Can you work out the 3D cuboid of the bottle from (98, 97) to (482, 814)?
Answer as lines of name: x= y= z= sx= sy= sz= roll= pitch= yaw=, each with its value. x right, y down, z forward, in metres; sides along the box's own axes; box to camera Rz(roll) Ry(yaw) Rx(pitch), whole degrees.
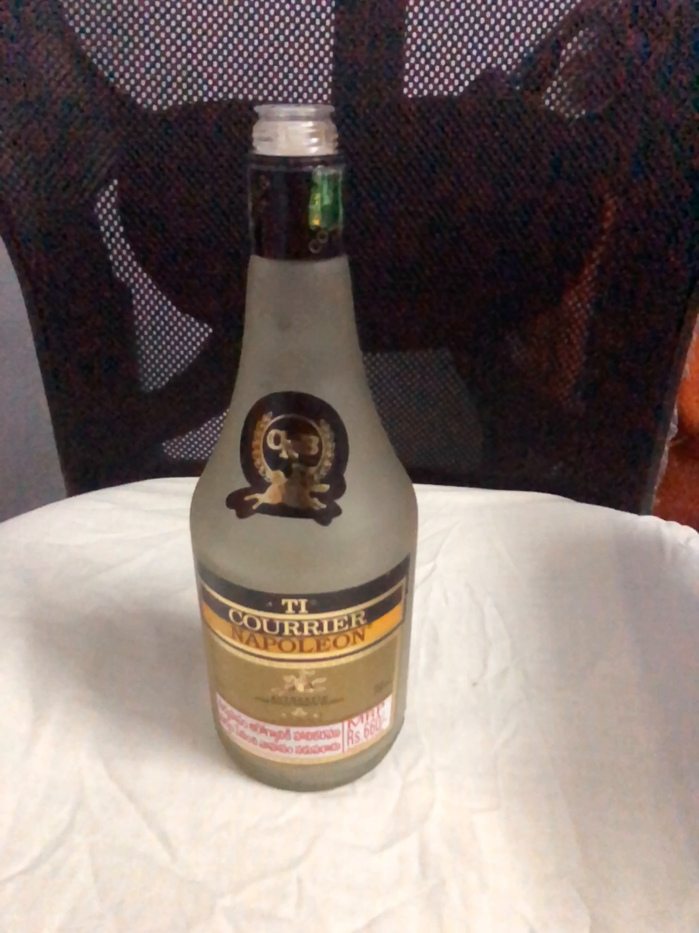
bottle: x=-0.016 y=0.006 z=0.273 sx=0.090 sy=0.239 sz=0.080 roll=3 pitch=29 yaw=2
